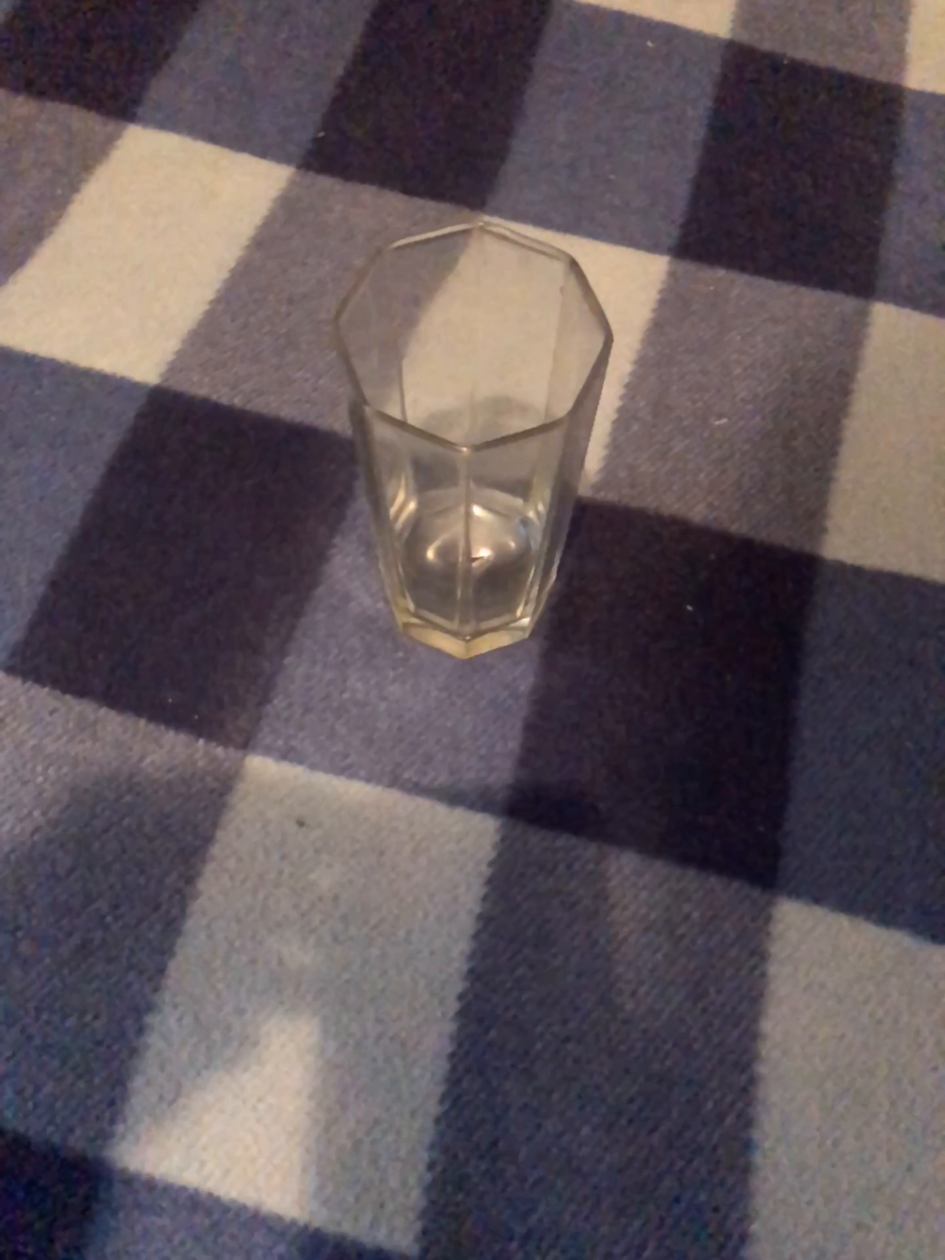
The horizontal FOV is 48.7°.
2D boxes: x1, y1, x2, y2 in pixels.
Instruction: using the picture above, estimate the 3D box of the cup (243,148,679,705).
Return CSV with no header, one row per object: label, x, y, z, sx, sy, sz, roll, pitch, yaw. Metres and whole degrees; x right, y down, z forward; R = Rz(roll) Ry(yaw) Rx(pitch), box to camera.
cup,-0.006,-0.052,0.322,0.077,0.137,0.082,1,66,-1
